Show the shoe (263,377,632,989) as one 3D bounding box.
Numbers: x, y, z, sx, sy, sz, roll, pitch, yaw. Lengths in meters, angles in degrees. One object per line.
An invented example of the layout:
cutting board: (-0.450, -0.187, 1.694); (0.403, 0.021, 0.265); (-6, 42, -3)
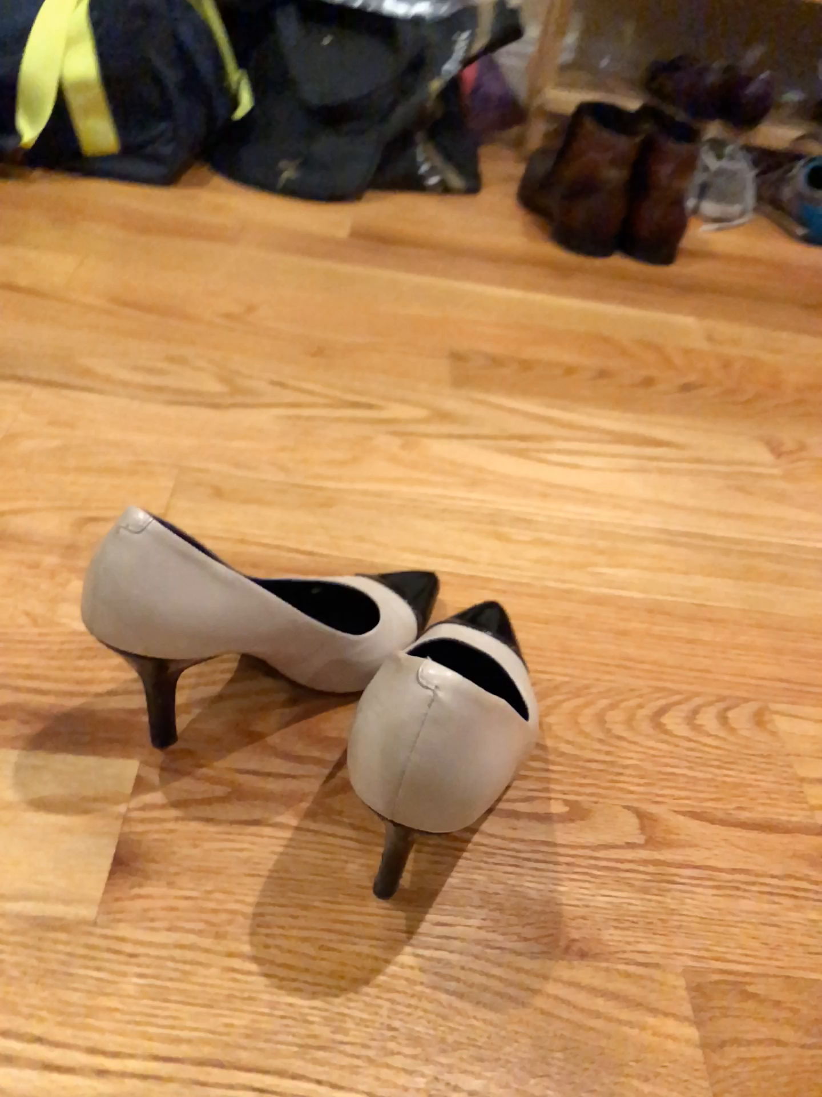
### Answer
shoe: (0.026, 0.041, 0.415); (0.085, 0.138, 0.236); (18, 37, 8)

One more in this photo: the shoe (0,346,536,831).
shoe: (-0.062, 0.005, 0.440); (0.236, 0.138, 0.085); (-24, 49, -39)
